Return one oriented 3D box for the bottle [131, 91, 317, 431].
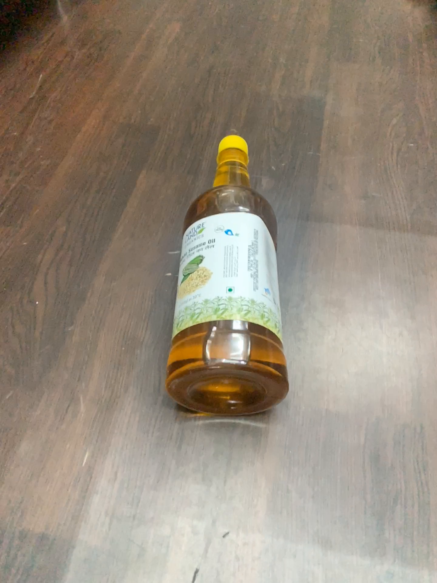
[{"bbox_3d":[0.012,-0.039,0.372,0.080,0.090,0.271,-30,41,37],"label":"bottle"}]
